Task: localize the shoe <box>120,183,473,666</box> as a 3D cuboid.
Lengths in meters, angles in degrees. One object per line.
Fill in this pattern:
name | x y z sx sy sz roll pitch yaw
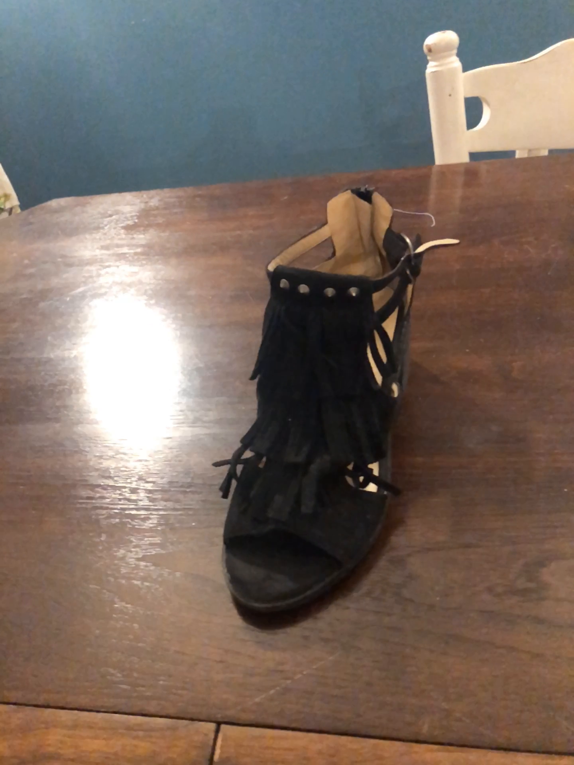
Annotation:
shoe | 0.033 0.004 0.377 0.100 0.149 0.240 9 42 23
